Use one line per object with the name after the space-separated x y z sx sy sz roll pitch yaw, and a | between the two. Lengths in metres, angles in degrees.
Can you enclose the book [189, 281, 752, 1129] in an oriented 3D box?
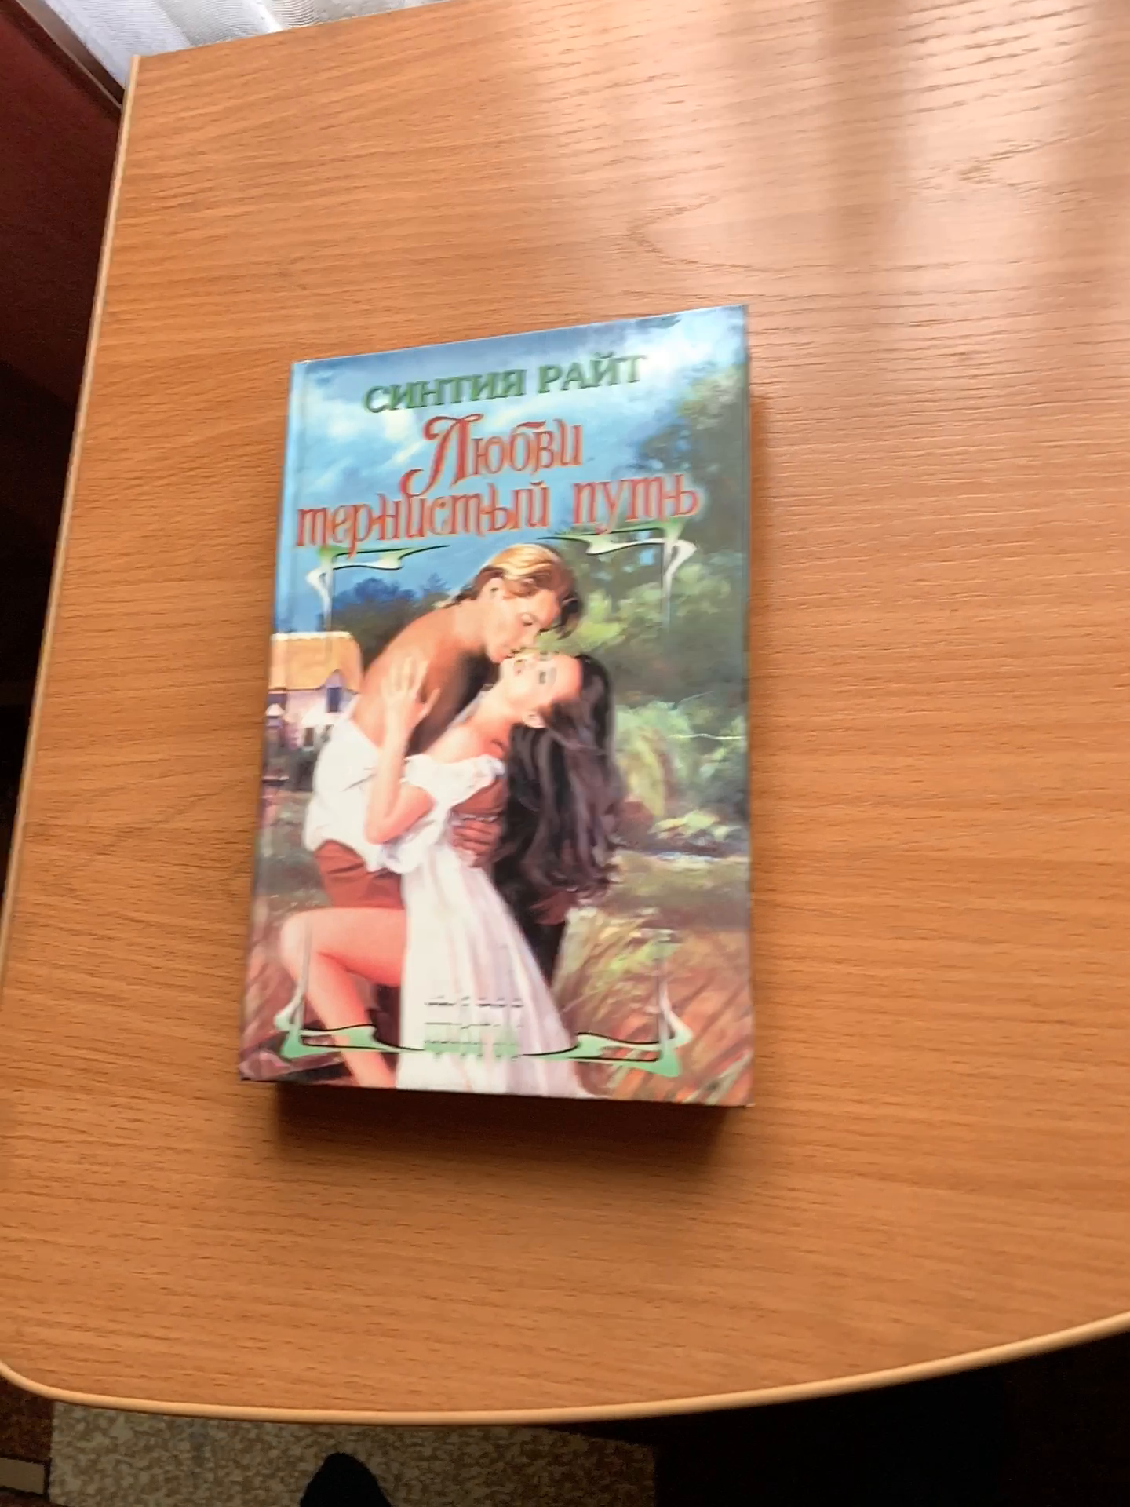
-0.022 -0.015 0.314 0.140 0.030 0.210 -1 80 15 | book
